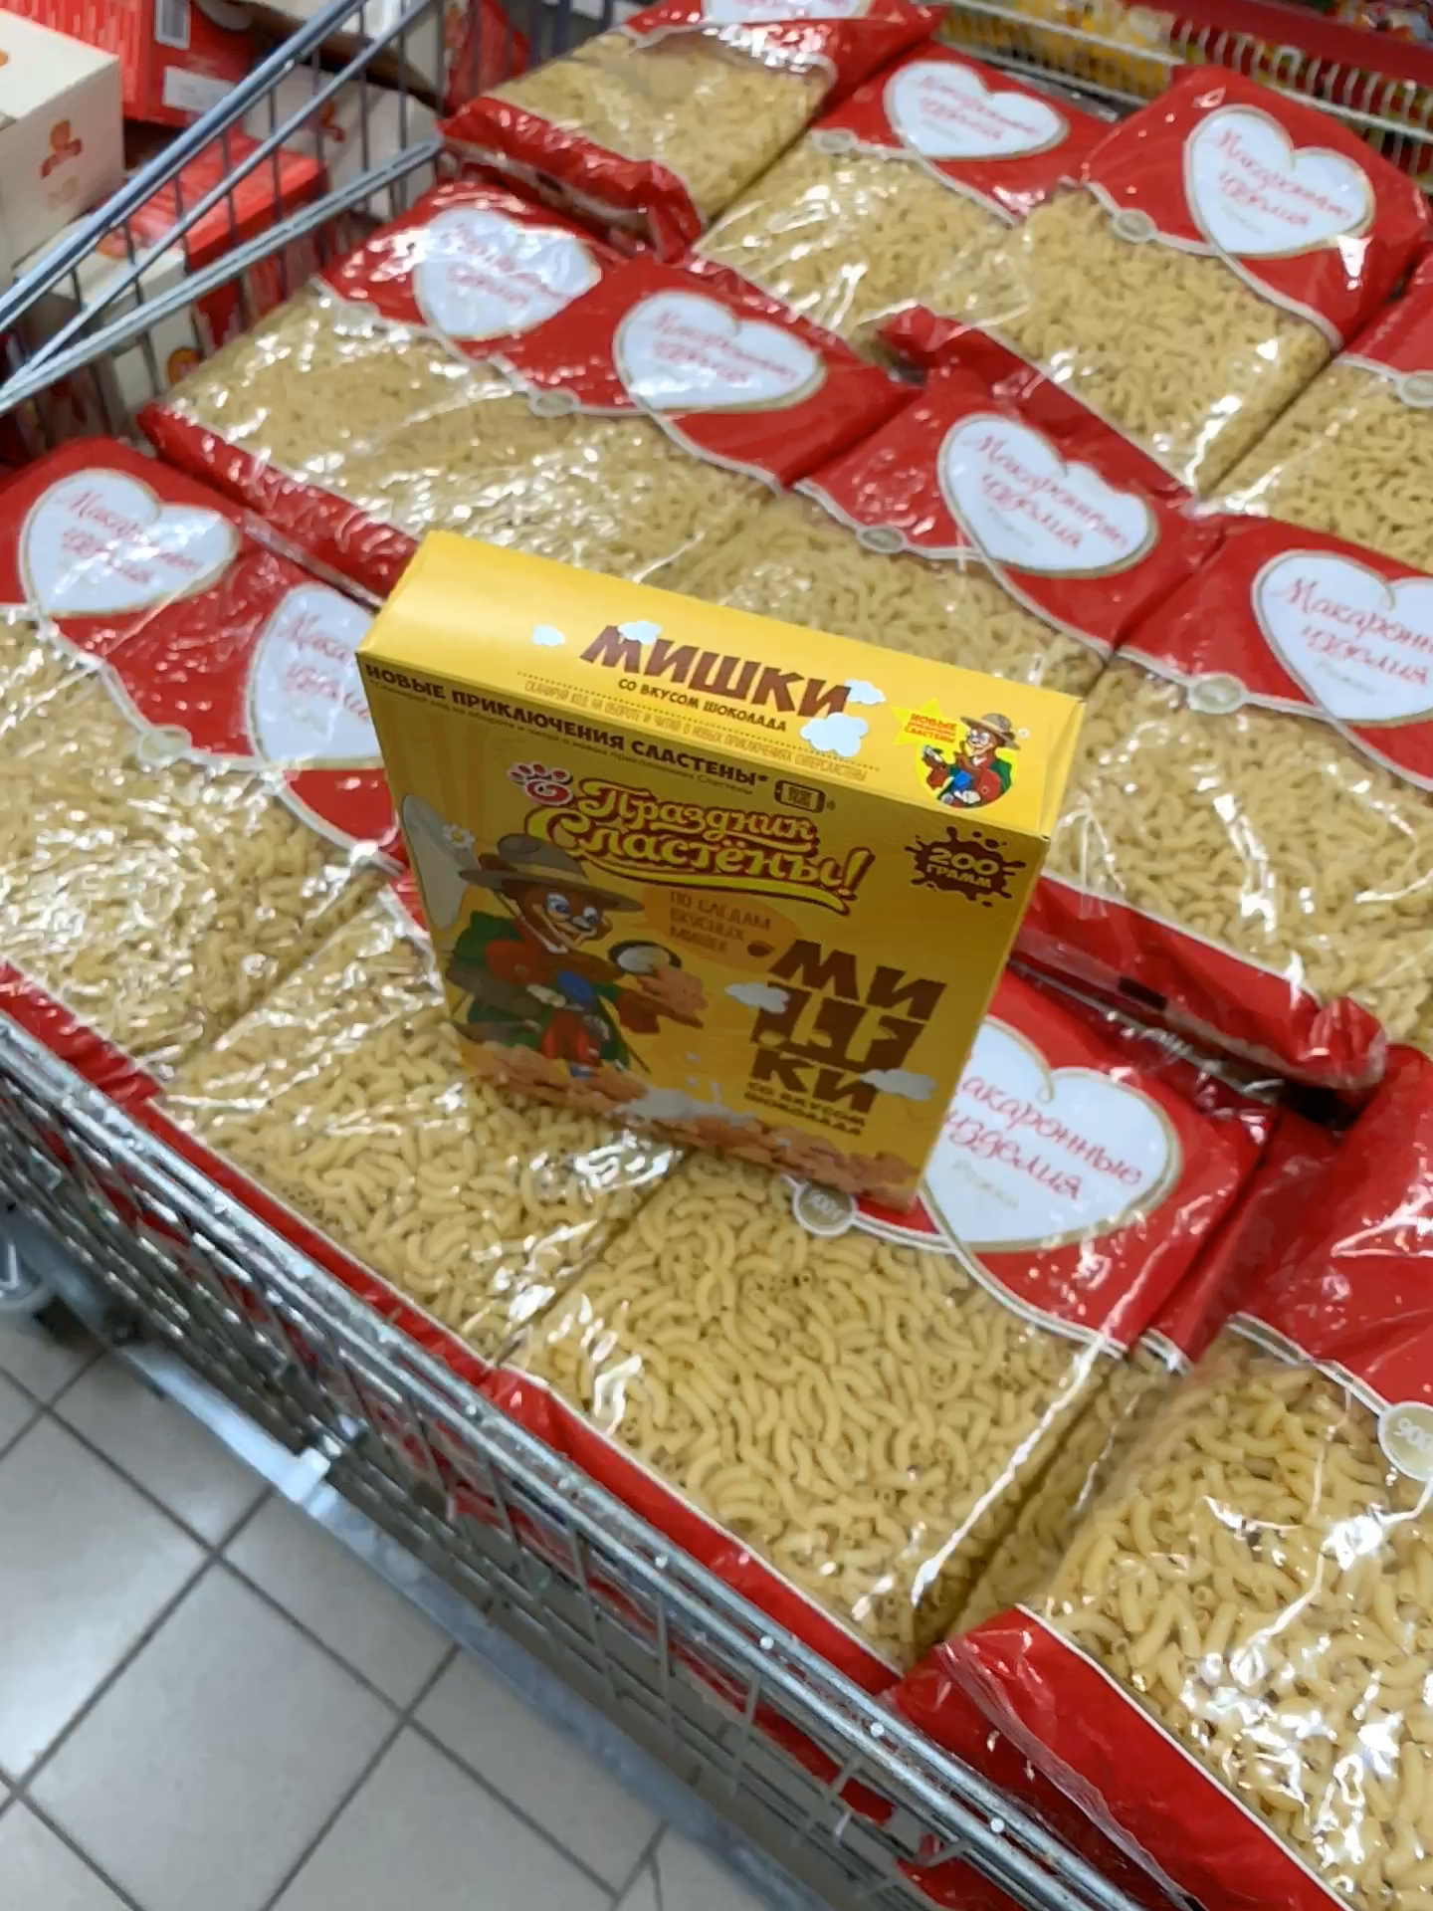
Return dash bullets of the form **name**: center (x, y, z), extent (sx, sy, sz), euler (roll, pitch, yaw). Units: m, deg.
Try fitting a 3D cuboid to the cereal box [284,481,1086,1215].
- **cereal box**: center (-0.008, -0.014, 0.423), extent (0.170, 0.219, 0.050), euler (17, 62, 10)
